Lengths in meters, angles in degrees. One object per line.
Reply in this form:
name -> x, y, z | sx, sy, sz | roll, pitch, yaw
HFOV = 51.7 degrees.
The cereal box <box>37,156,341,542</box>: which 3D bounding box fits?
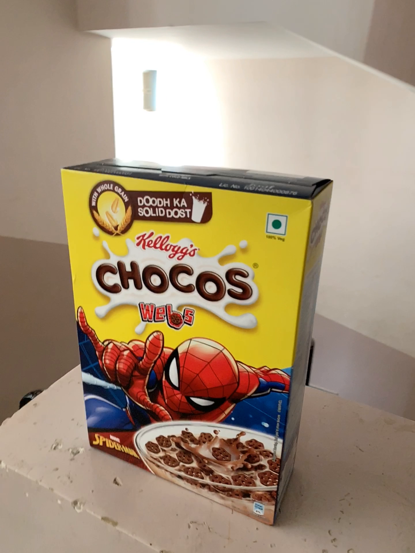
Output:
cereal box -> -0.017, 0.046, 0.328 | 0.190, 0.248, 0.070 | 11, 24, 24
